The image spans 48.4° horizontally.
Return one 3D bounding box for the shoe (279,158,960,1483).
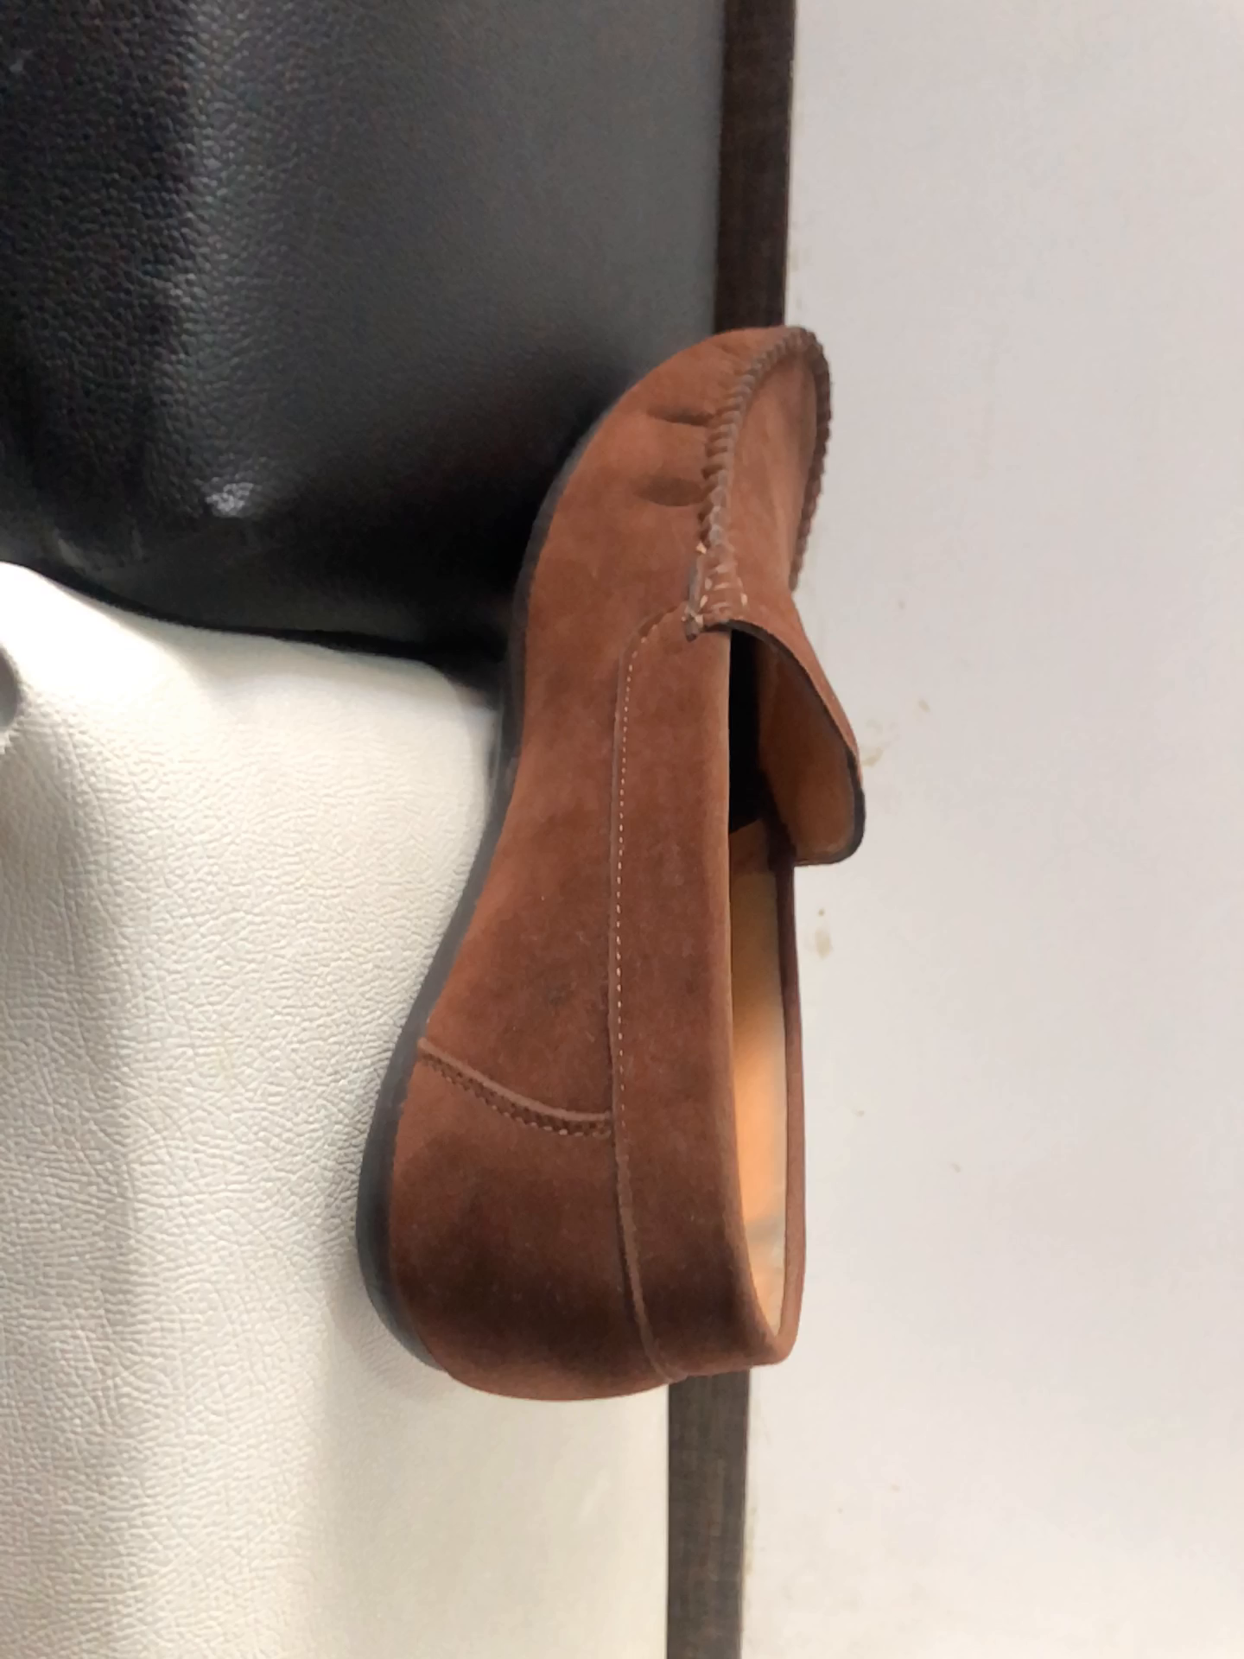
[{"bbox_3d":[0.029,-0.013,0.344,0.141,0.080,0.290,68,30,-53],"label":"shoe"}]
